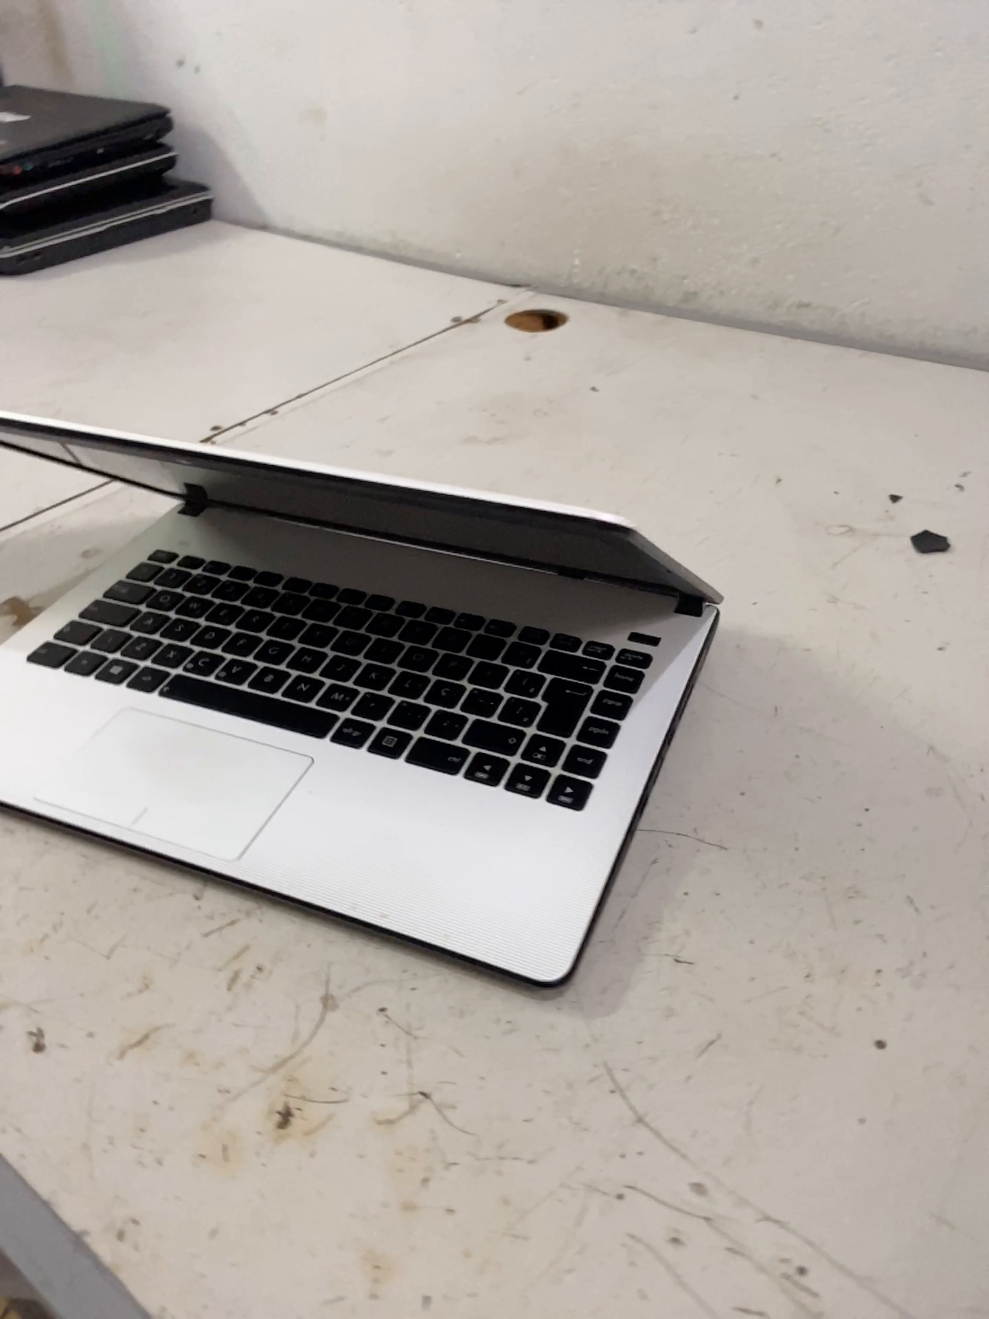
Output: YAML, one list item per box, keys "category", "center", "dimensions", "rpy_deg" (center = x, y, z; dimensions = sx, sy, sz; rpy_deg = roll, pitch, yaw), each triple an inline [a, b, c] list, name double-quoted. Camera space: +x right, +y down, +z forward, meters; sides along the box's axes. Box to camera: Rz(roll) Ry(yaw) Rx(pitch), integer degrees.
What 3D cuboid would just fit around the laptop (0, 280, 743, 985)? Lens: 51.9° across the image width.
- category: "laptop"
  center: [-0.093, -0.046, 0.459]
  dimensions: [0.343, 0.141, 0.237]
  rpy_deg: [12, 42, 20]
